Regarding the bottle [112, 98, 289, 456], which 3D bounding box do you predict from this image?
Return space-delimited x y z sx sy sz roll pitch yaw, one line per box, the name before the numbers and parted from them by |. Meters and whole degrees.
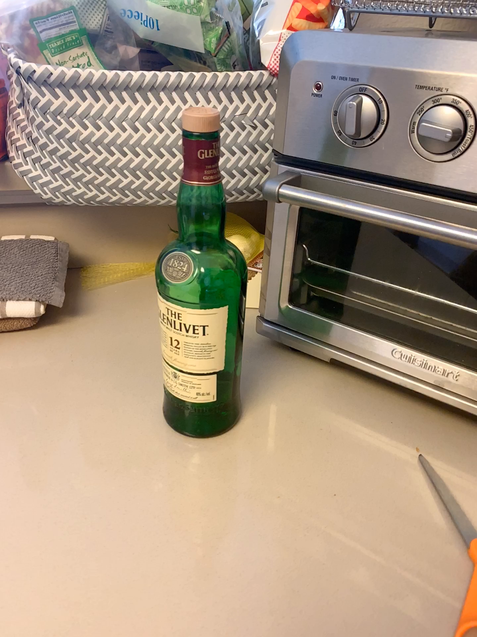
bottle | -0.029 -0.028 0.420 0.090 0.278 0.090 2 31 -1
